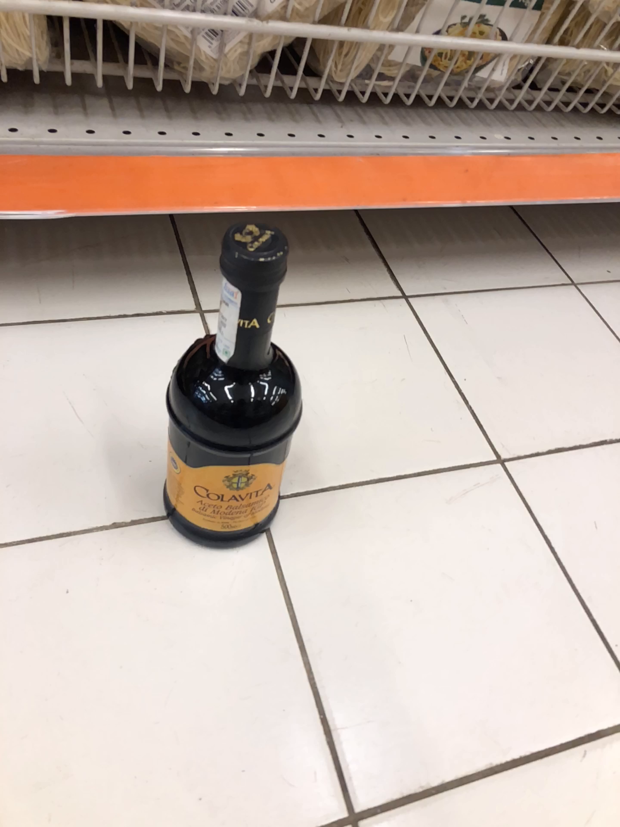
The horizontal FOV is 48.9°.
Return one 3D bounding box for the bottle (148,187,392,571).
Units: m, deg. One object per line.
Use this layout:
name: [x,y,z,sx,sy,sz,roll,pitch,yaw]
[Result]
bottle: [-0.037,-0.010,0.374,0.090,0.199,0.090,7,48,-8]
